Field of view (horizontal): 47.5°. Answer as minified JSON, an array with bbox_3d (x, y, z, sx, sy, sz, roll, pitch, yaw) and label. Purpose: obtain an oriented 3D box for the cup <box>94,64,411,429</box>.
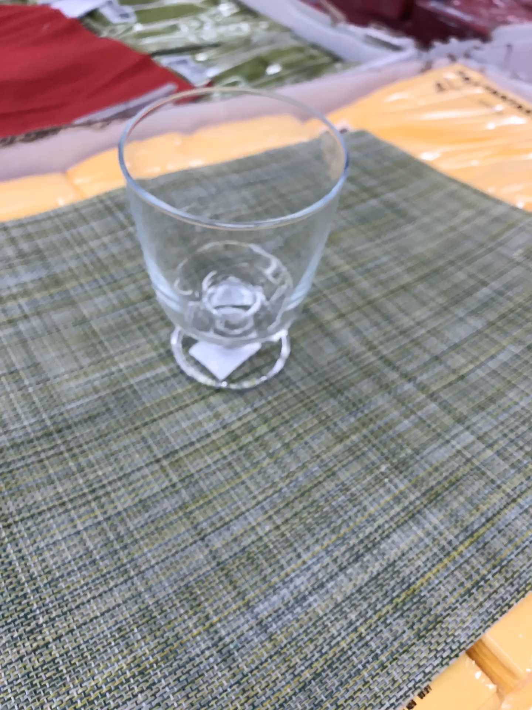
[{"bbox_3d":[-0.011,-0.045,0.265,0.090,0.110,0.090,2,54,-2],"label":"cup"}]
